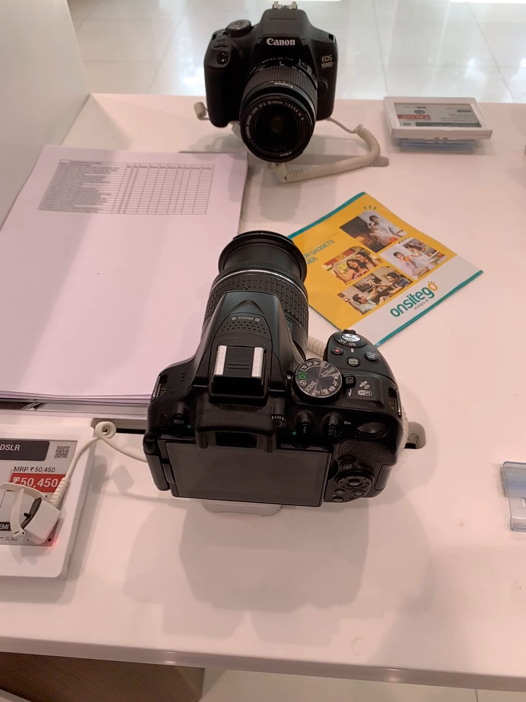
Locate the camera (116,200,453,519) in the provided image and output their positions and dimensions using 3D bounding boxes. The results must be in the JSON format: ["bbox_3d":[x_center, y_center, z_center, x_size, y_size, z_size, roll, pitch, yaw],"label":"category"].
[{"bbox_3d":[0.012,0.004,0.261,0.118,0.100,0.107,4,50,4],"label":"camera"}]
